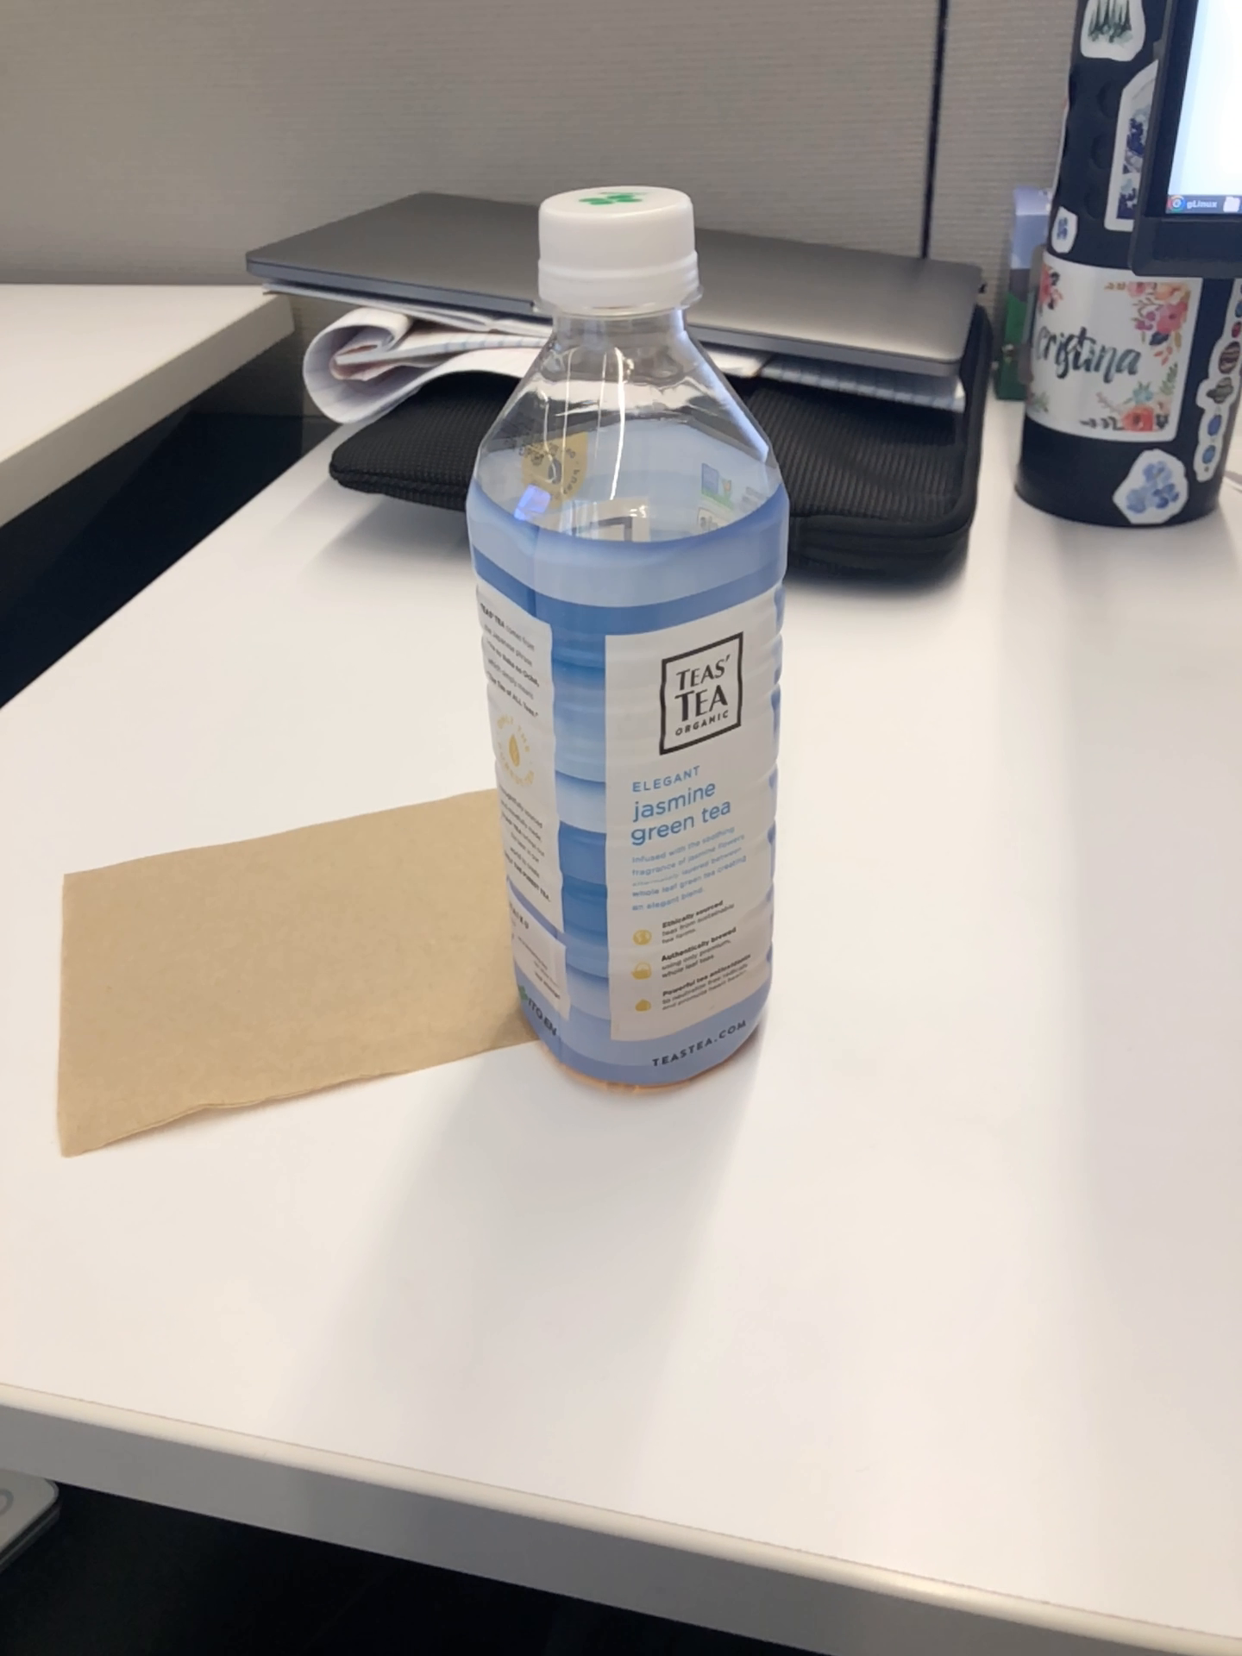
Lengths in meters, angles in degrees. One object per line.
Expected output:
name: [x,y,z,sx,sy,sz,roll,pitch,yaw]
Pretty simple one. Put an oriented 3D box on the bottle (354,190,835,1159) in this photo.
bottle: [-0.003,-0.032,0.332,0.070,0.209,0.070,-2,32,1]
